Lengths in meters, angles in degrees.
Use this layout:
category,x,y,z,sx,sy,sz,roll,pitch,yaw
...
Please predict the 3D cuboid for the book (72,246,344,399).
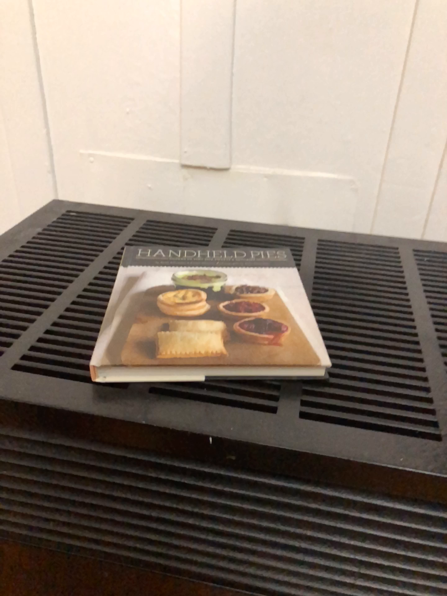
category,x,y,z,sx,sy,sz,roll,pitch,yaw
book,-0.015,0.008,0.468,0.200,0.020,0.231,-1,30,-3
